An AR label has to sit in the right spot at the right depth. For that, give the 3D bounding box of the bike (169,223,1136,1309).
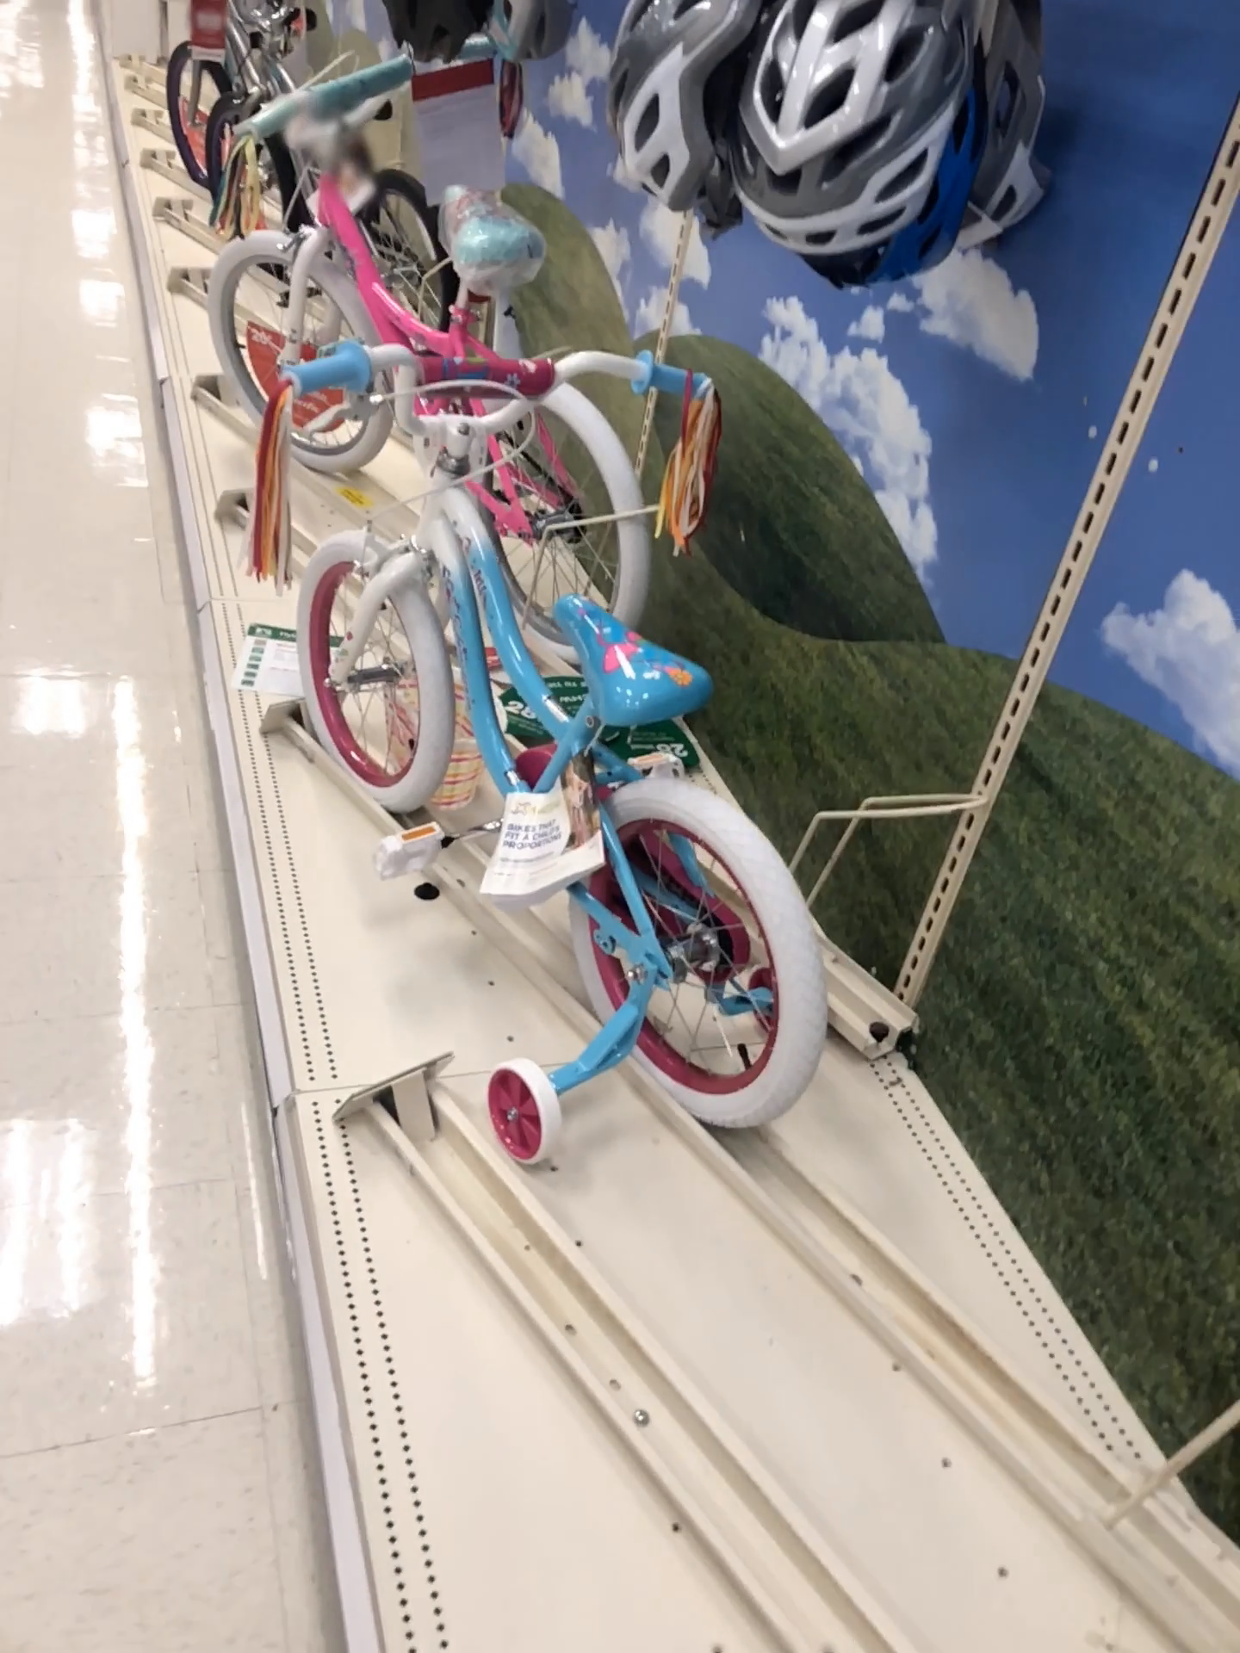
[{"bbox_3d":[-0.079,-0.188,1.654,0.534,0.723,1.093,-17,45,-37],"label":"bike"}]
